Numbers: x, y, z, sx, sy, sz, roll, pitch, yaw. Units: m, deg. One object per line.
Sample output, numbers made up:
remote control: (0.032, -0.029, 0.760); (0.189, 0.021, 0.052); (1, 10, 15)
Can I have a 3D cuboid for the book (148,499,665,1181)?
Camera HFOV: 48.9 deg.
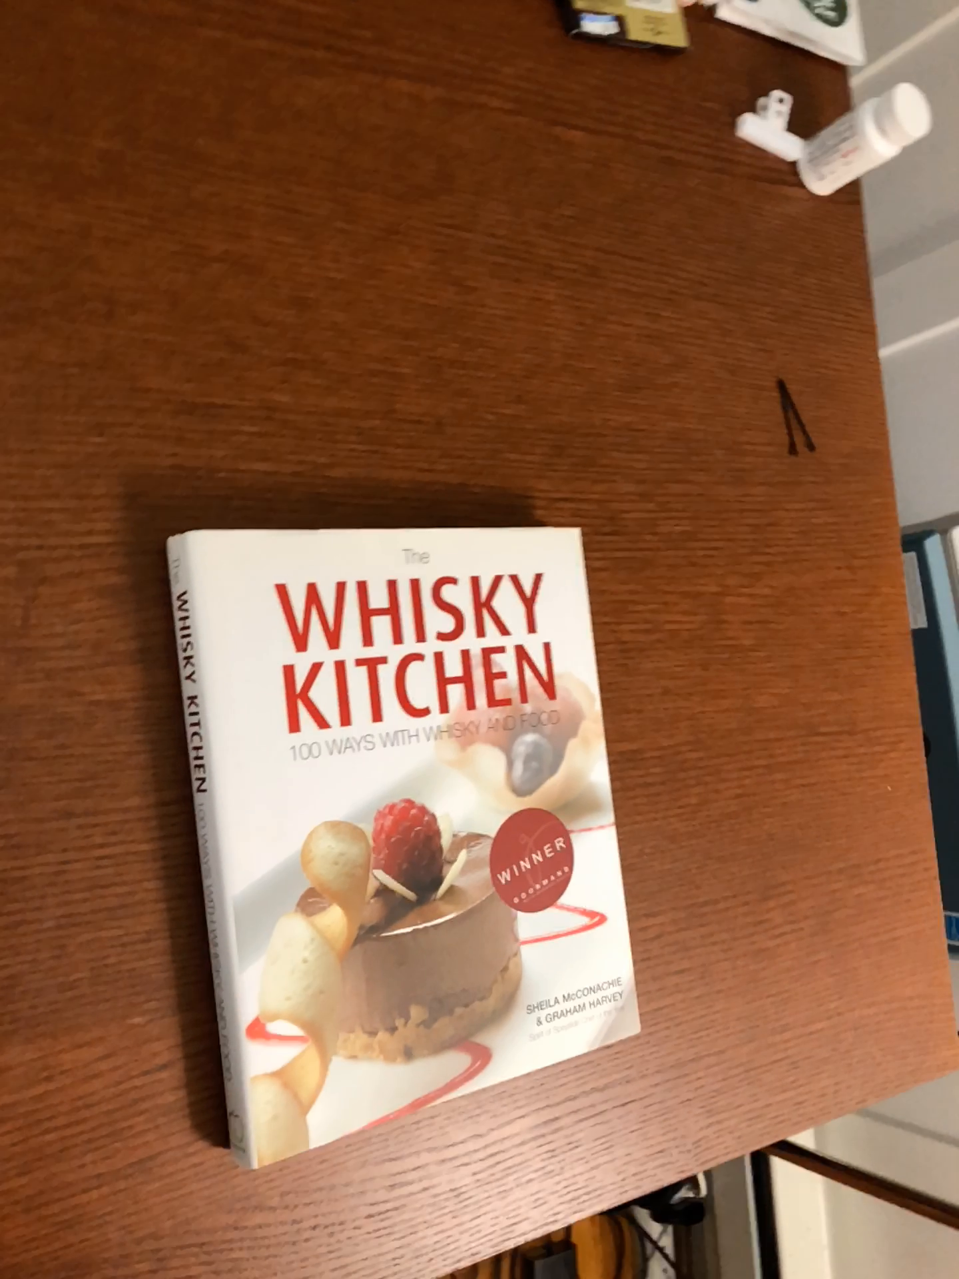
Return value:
book: (-0.025, 0.072, 0.495); (0.221, 0.040, 0.270); (-5, 87, -32)
